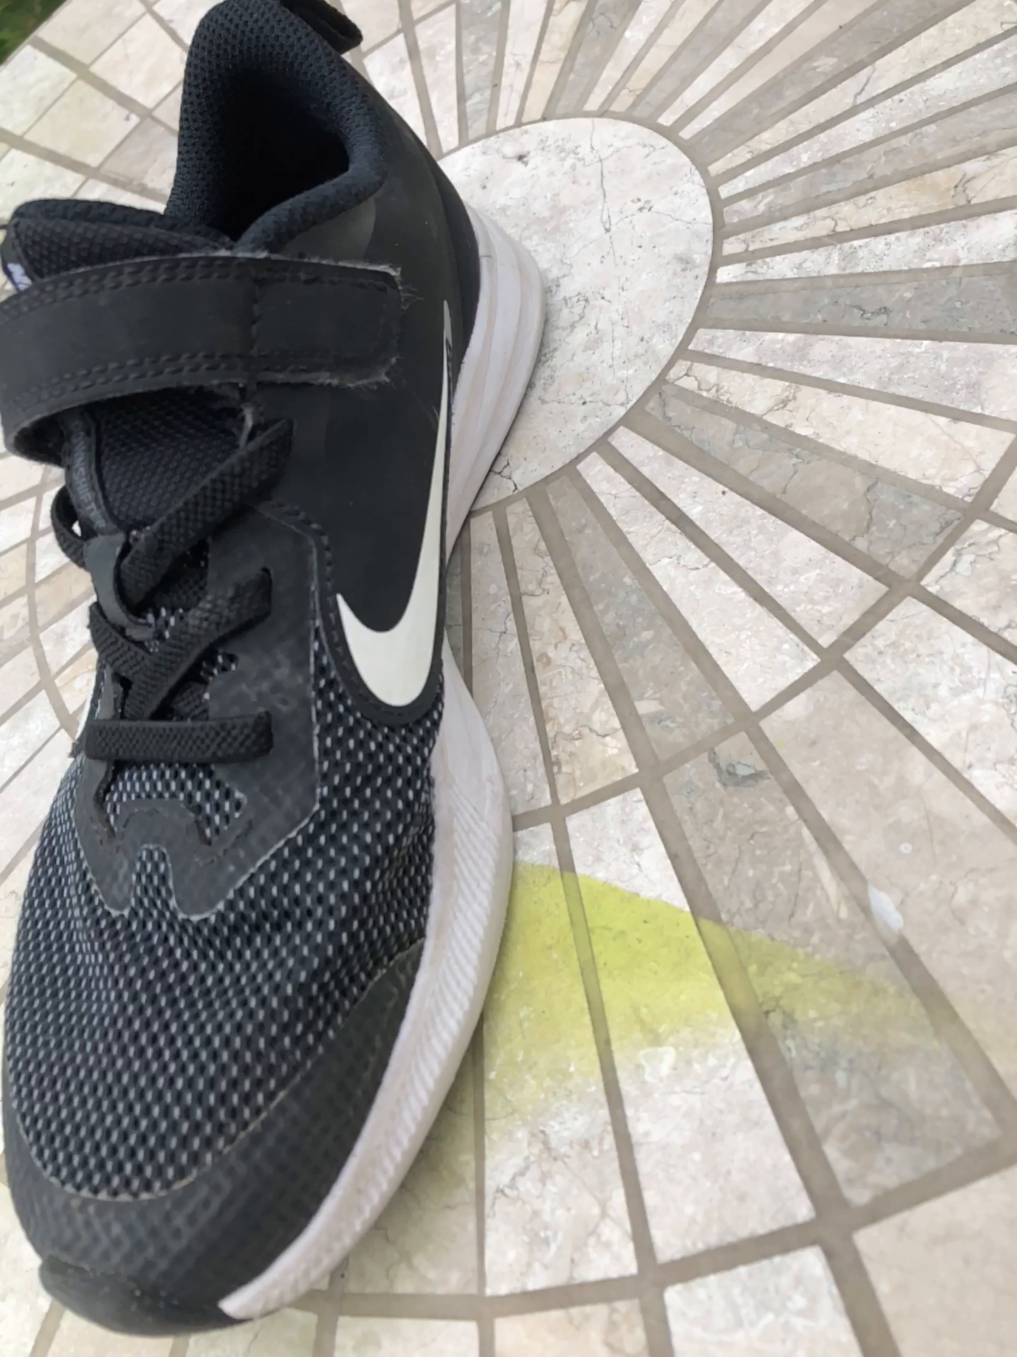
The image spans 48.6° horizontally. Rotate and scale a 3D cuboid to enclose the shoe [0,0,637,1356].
[{"bbox_3d":[-0.051,-0.017,0.203,0.100,0.100,0.251,-6,62,27],"label":"shoe"}]
